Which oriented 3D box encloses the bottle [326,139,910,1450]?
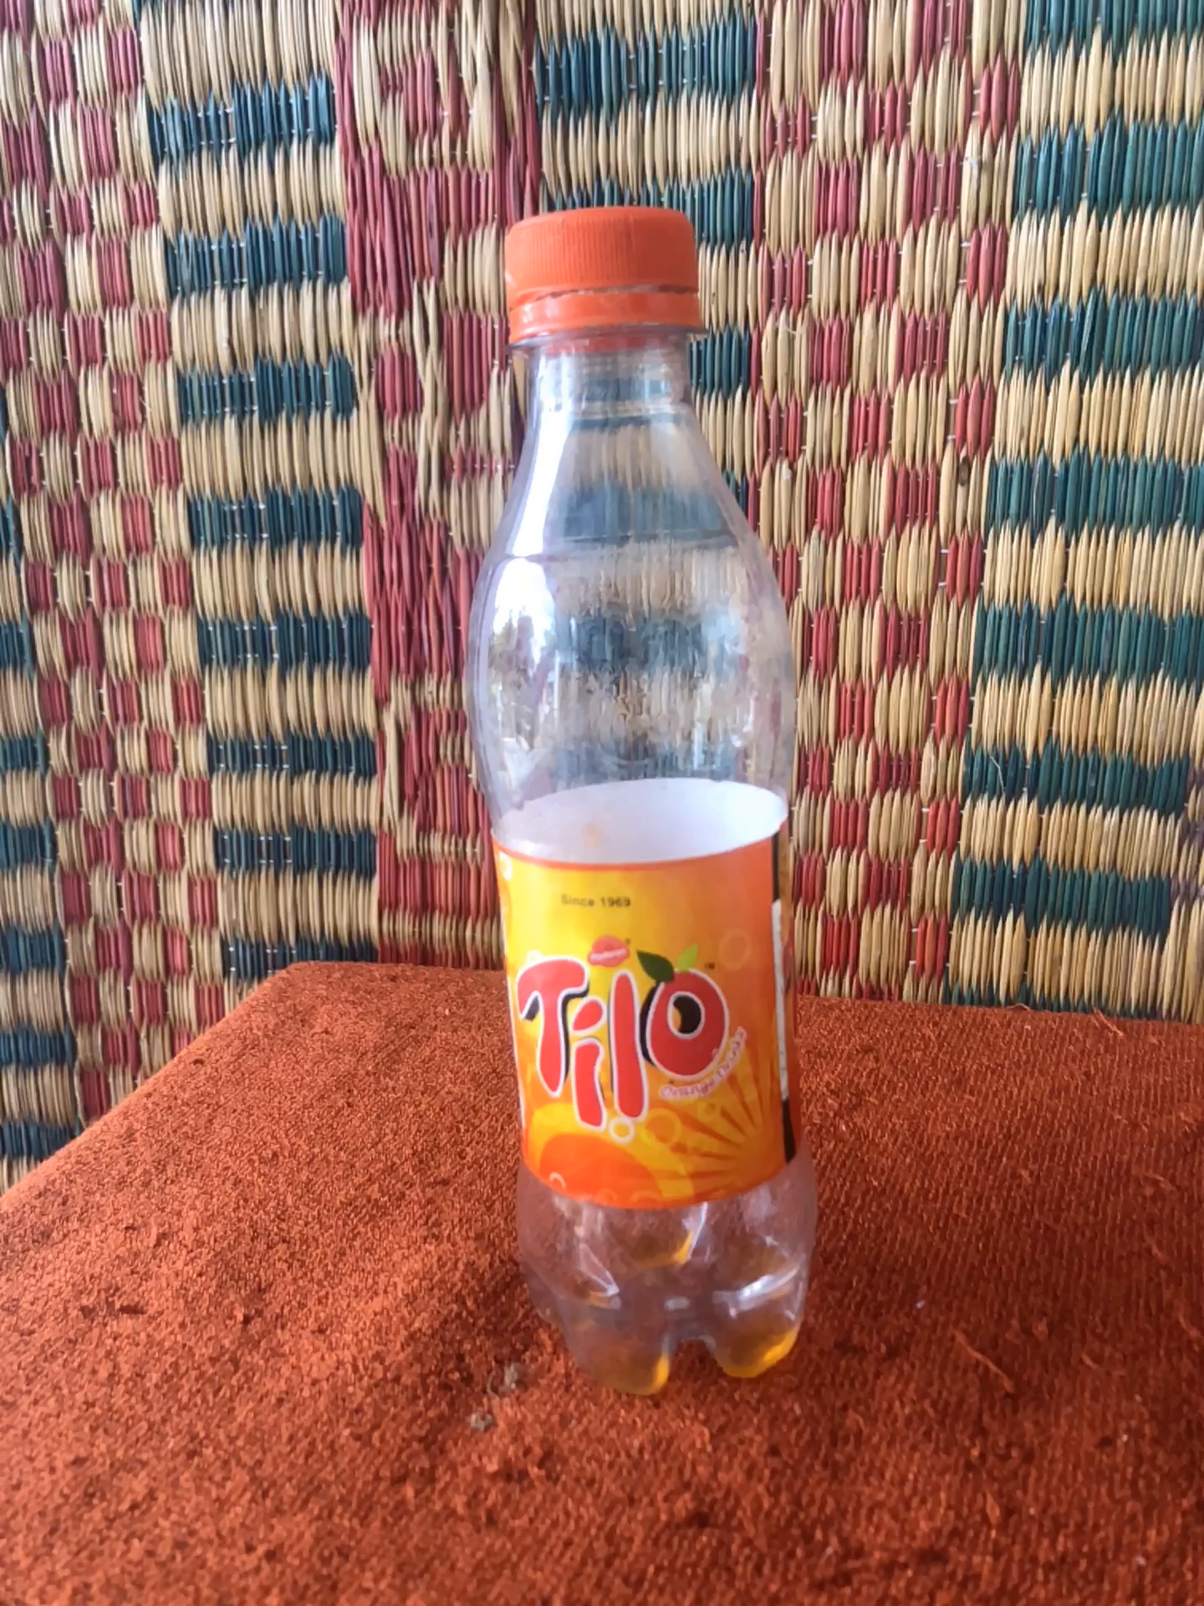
[{"bbox_3d":[0.010,0.003,0.218,0.070,0.189,0.050,3,19,21],"label":"bottle"}]
